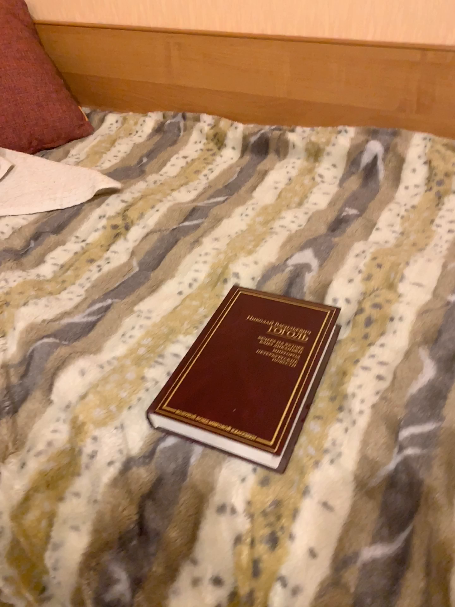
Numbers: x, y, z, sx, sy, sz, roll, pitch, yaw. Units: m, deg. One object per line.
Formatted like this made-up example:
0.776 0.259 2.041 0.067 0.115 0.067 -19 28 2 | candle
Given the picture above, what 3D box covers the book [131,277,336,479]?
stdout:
0.018 0.064 0.515 0.149 0.040 0.212 13 46 22 | book
